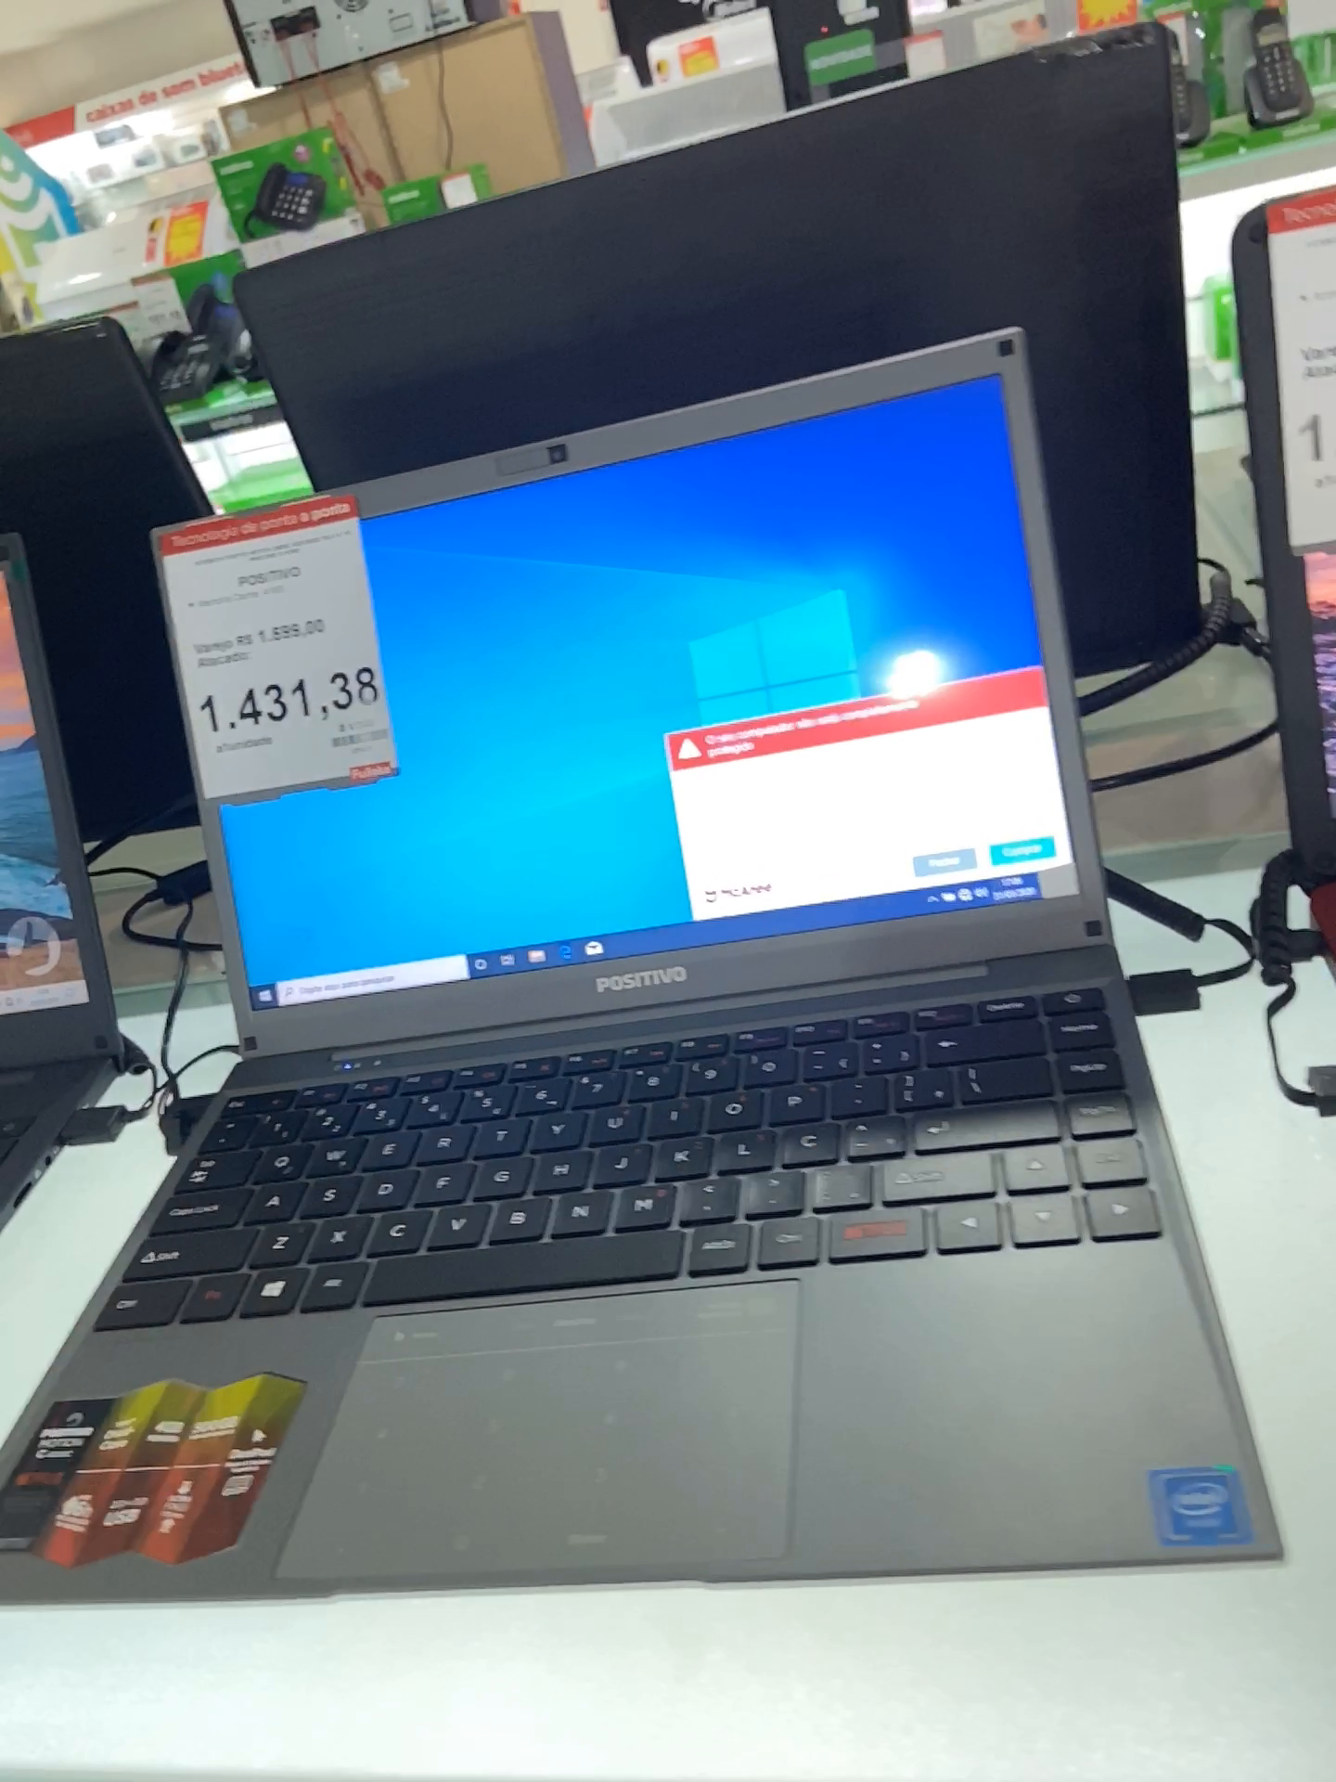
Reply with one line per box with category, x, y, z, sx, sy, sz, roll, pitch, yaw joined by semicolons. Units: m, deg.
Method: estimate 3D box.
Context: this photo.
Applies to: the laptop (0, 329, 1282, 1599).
laptop;-0.038;-0.003;0.408;0.330;0.183;0.321;-9;30;13
